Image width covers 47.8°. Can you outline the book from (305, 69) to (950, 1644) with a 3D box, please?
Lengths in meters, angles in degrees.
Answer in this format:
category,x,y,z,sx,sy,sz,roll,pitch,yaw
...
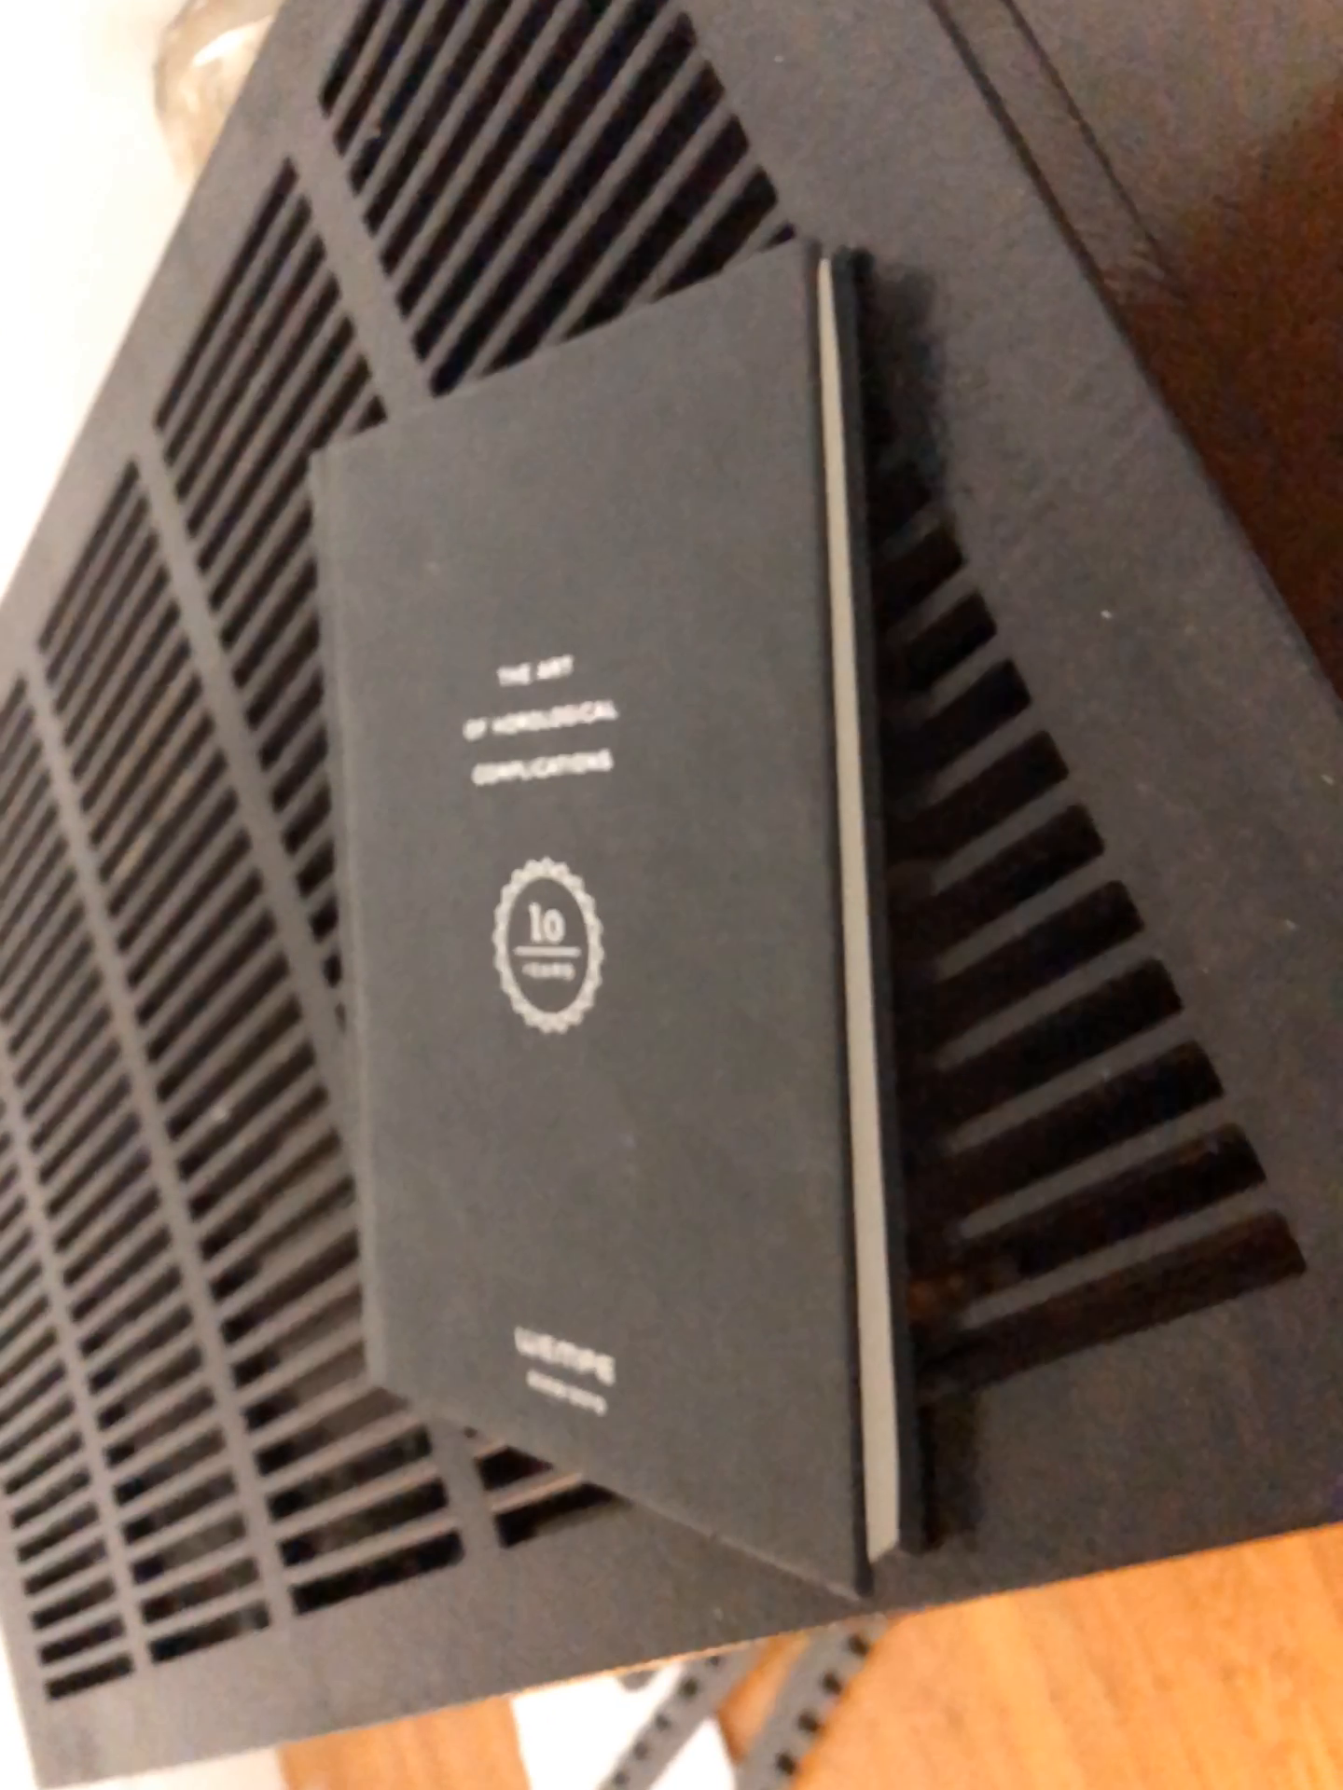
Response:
category,x,y,z,sx,sy,sz,roll,pitch,yaw
book,-0.020,-0.004,0.307,0.161,0.020,0.250,-2,91,48
